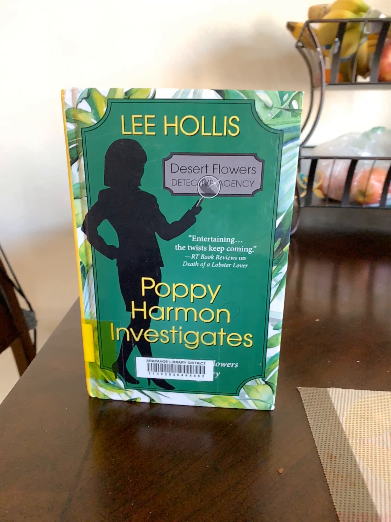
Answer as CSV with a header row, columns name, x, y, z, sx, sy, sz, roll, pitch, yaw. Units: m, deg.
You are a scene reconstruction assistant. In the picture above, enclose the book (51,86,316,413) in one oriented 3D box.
name,x,y,z,sx,sy,sz,roll,pitch,yaw
book,-0.008,-0.003,0.286,0.153,0.220,0.040,2,18,5
